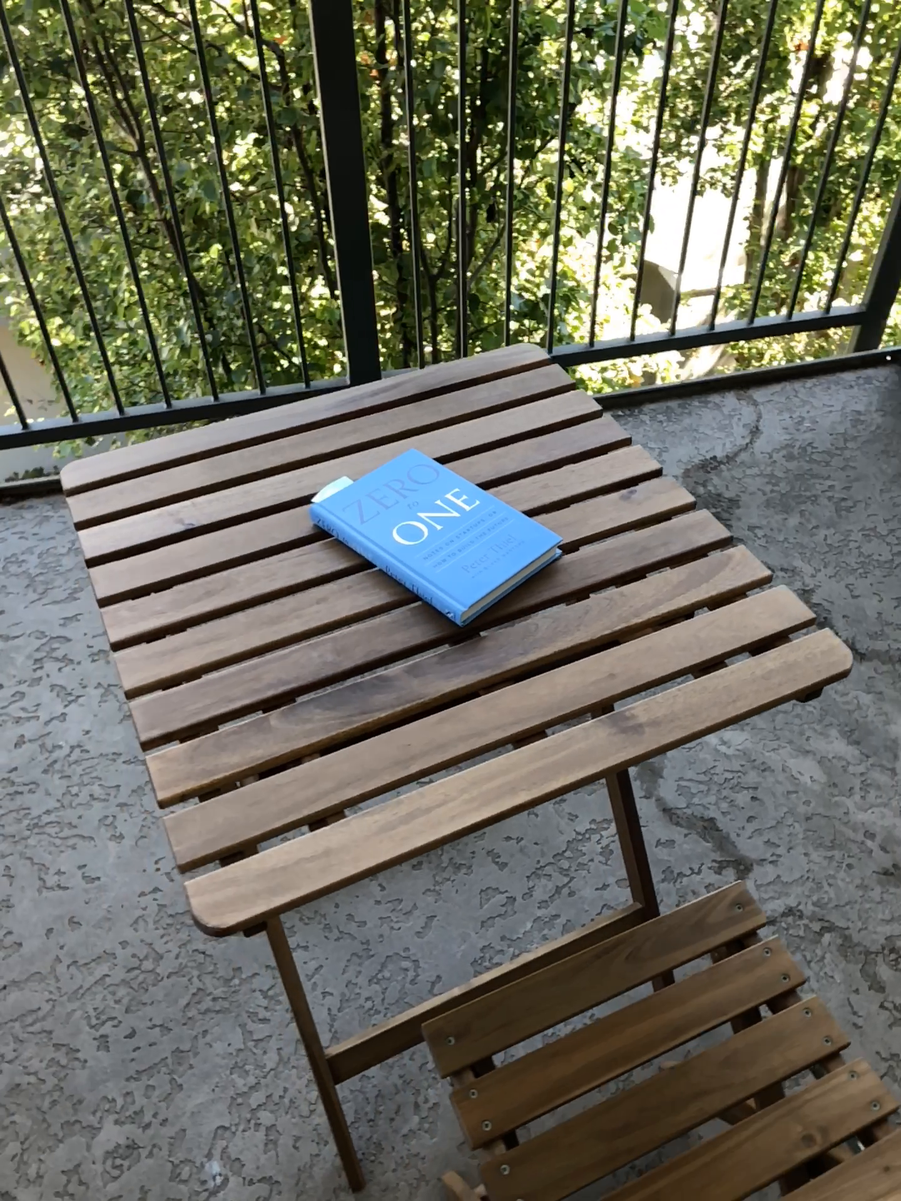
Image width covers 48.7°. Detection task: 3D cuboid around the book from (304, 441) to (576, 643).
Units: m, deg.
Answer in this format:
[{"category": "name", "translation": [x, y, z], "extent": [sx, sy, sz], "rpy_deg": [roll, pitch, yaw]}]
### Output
[{"category": "book", "translation": [-0.013, -0.067, 0.993], "extent": [0.220, 0.030, 0.160], "rpy_deg": [35, 55, 30]}]
